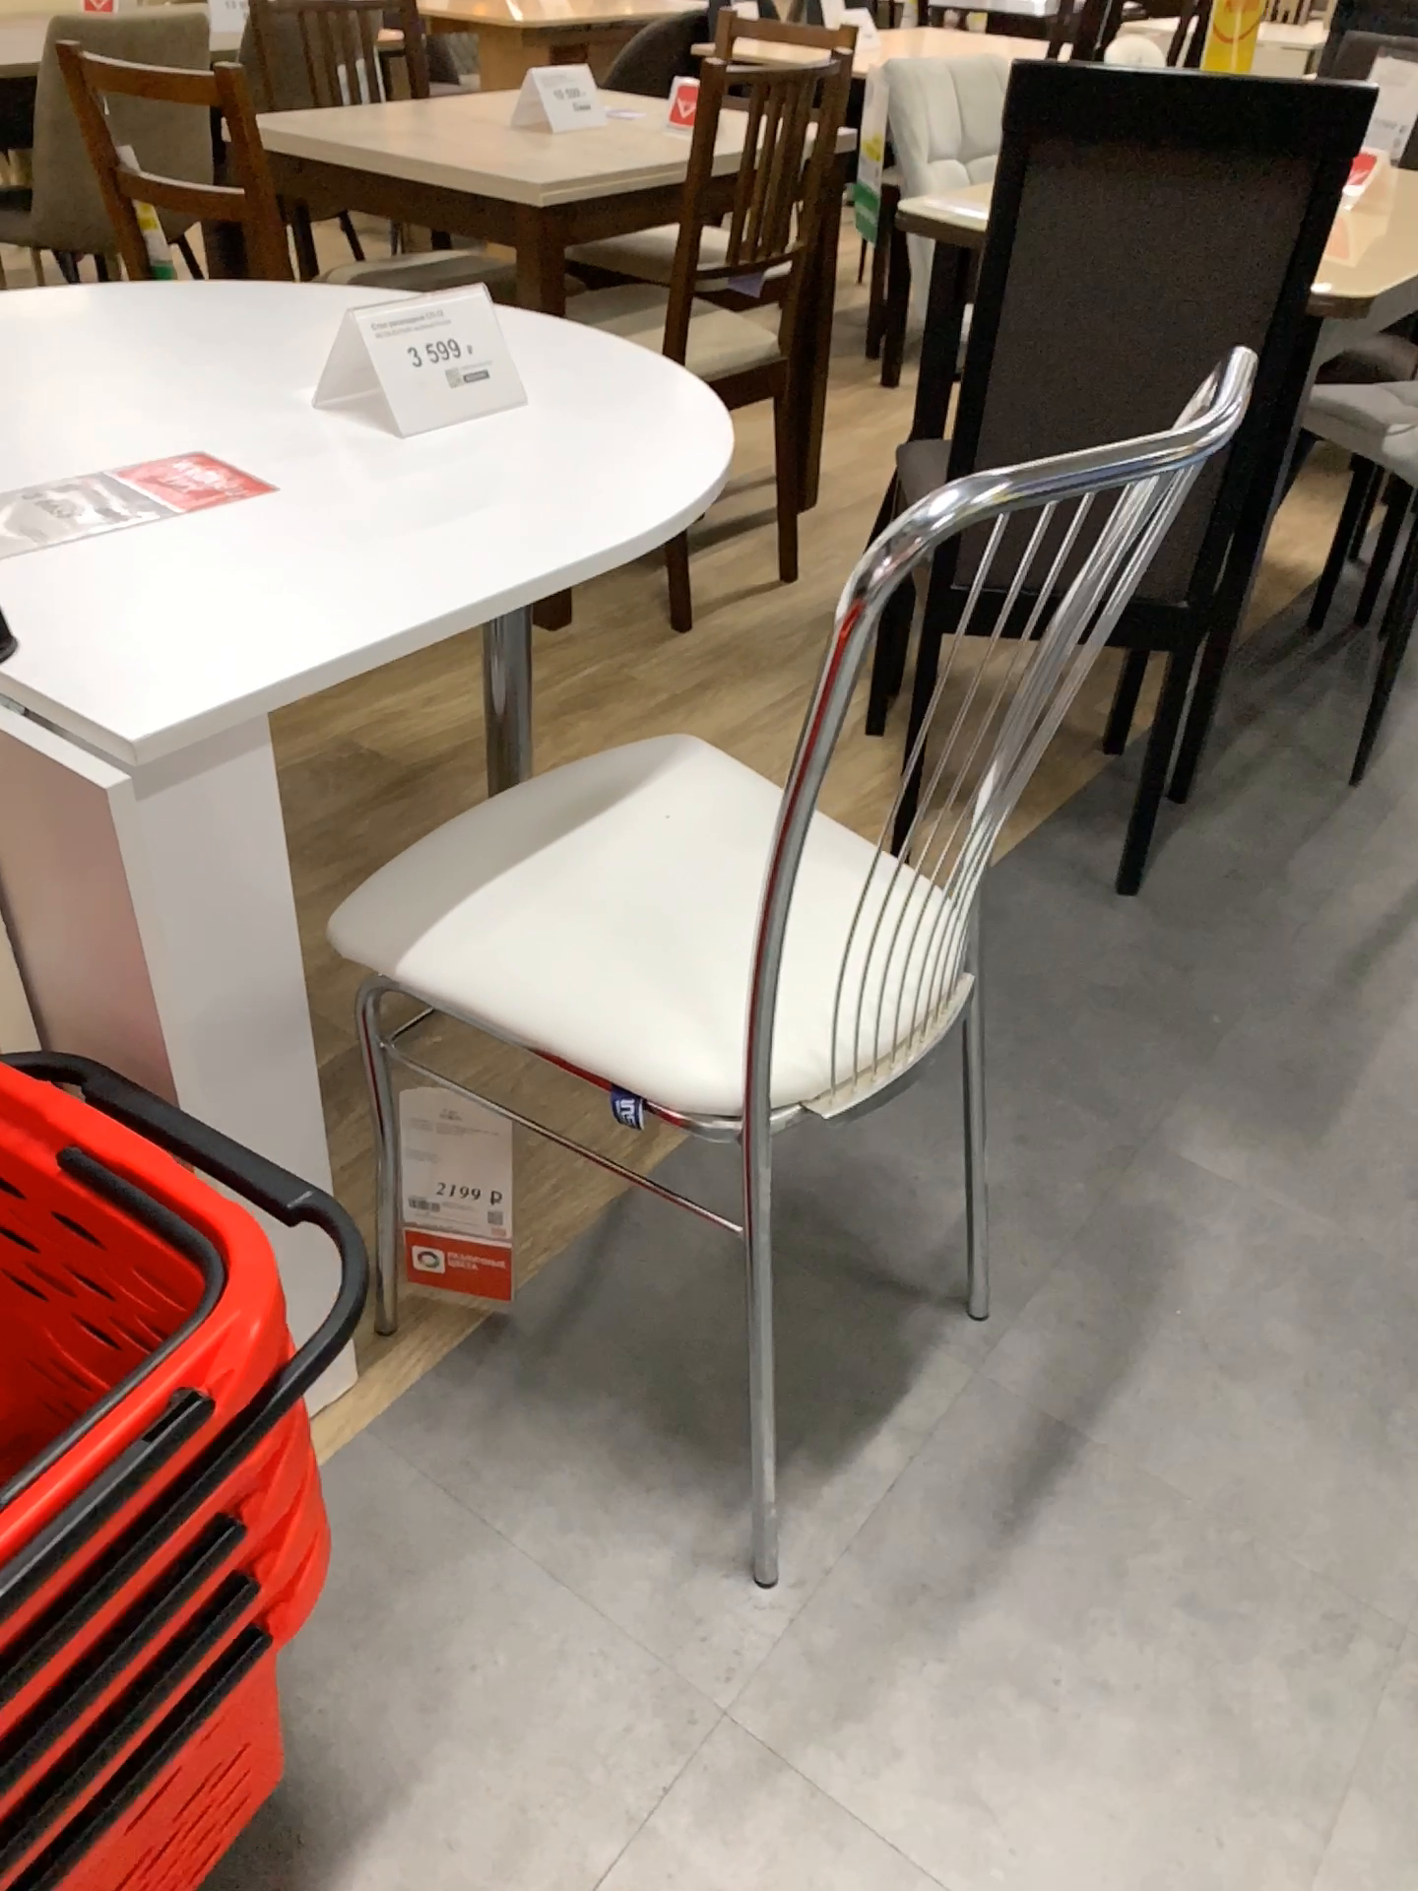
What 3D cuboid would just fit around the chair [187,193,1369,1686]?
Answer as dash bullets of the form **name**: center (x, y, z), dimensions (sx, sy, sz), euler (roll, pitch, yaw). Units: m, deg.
- **chair**: center (0.031, 0.002, 1.157), dimensions (0.551, 0.954, 0.452), euler (26, 42, 27)
